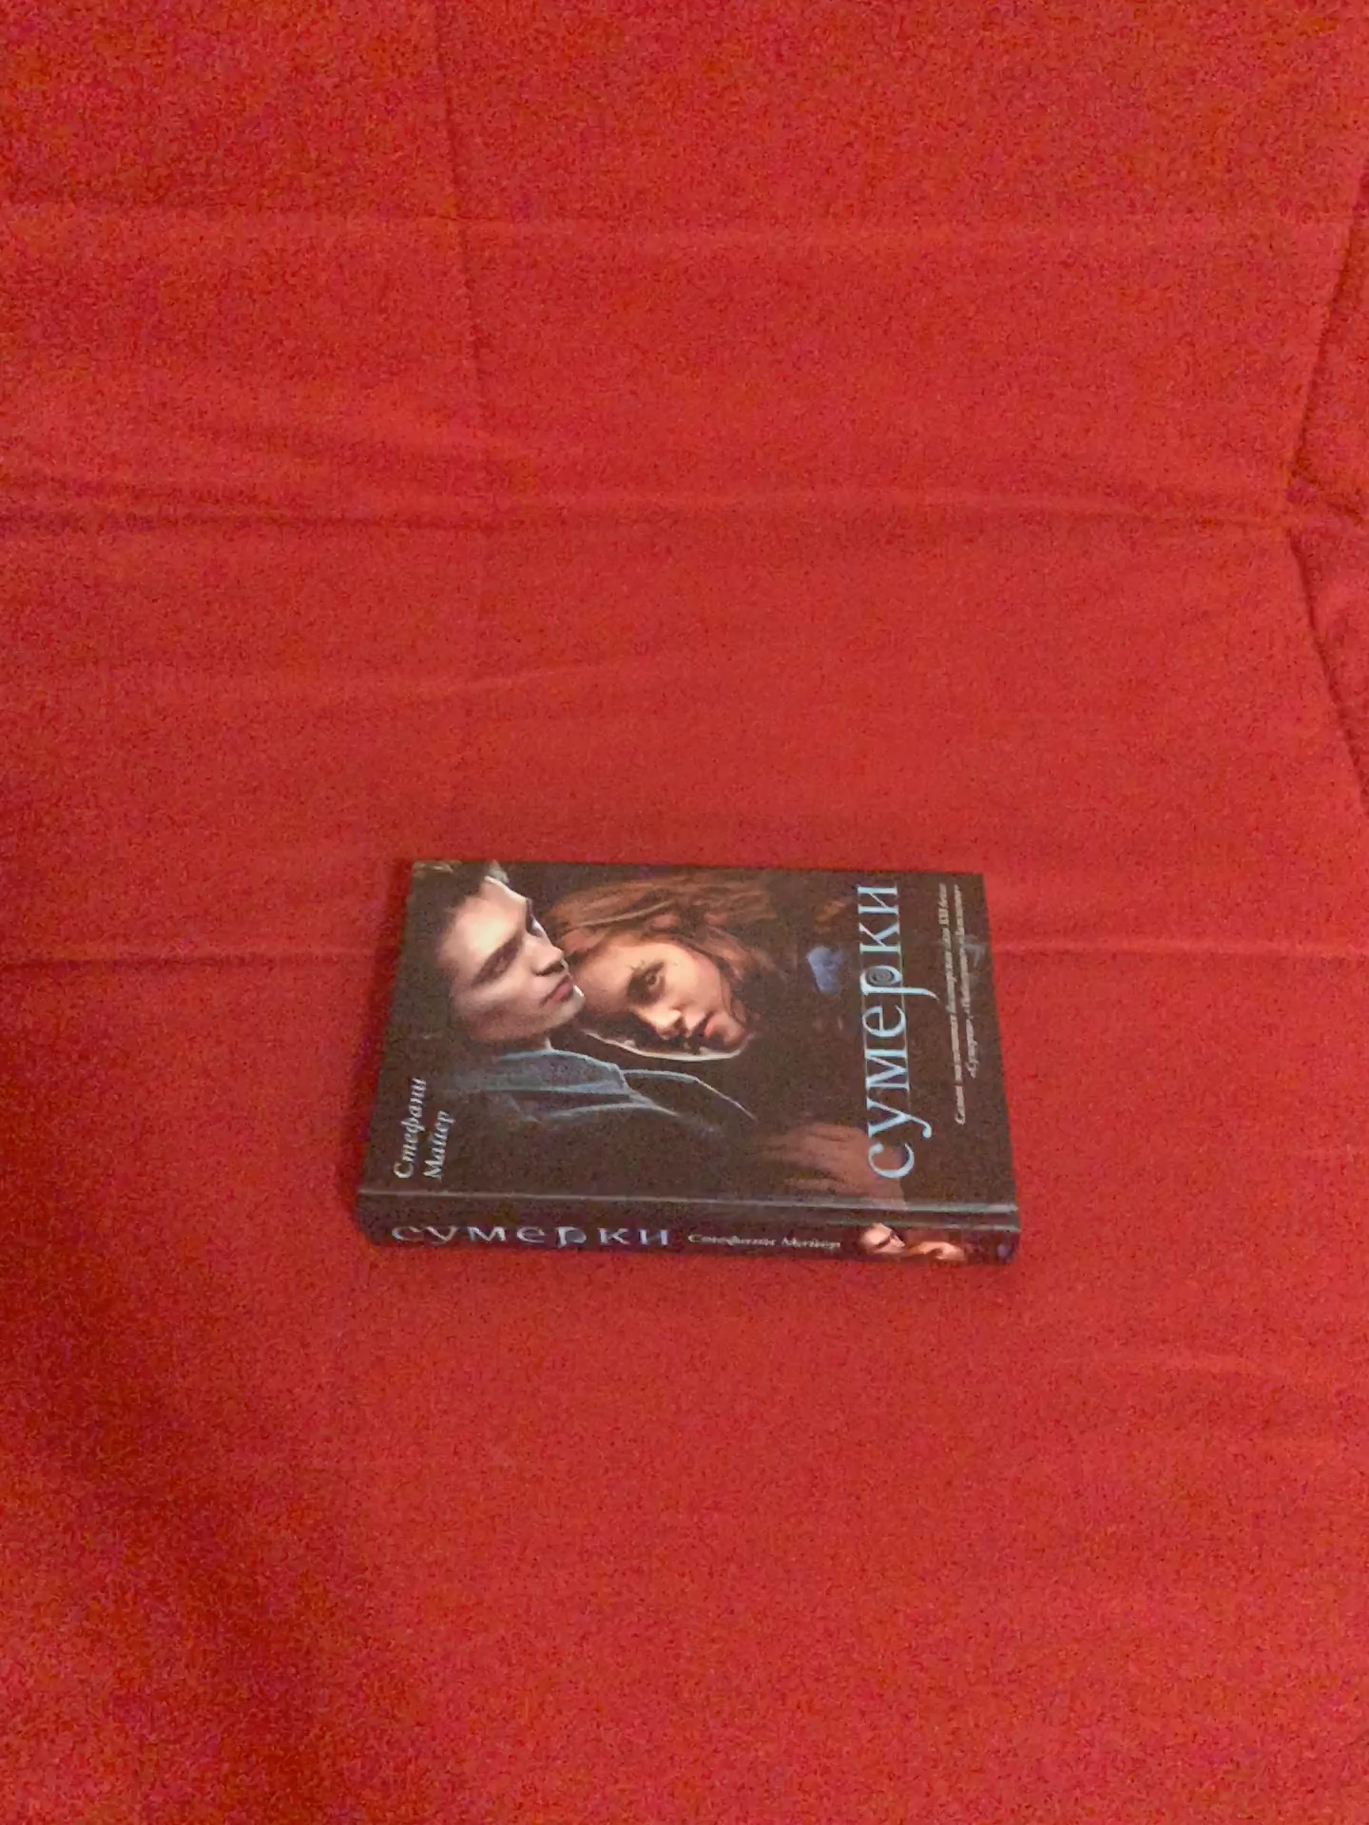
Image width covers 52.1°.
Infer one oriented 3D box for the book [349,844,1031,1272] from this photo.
[{"bbox_3d":[0.004,0.047,0.476,0.209,0.036,0.134,2,61,1],"label":"book"}]
